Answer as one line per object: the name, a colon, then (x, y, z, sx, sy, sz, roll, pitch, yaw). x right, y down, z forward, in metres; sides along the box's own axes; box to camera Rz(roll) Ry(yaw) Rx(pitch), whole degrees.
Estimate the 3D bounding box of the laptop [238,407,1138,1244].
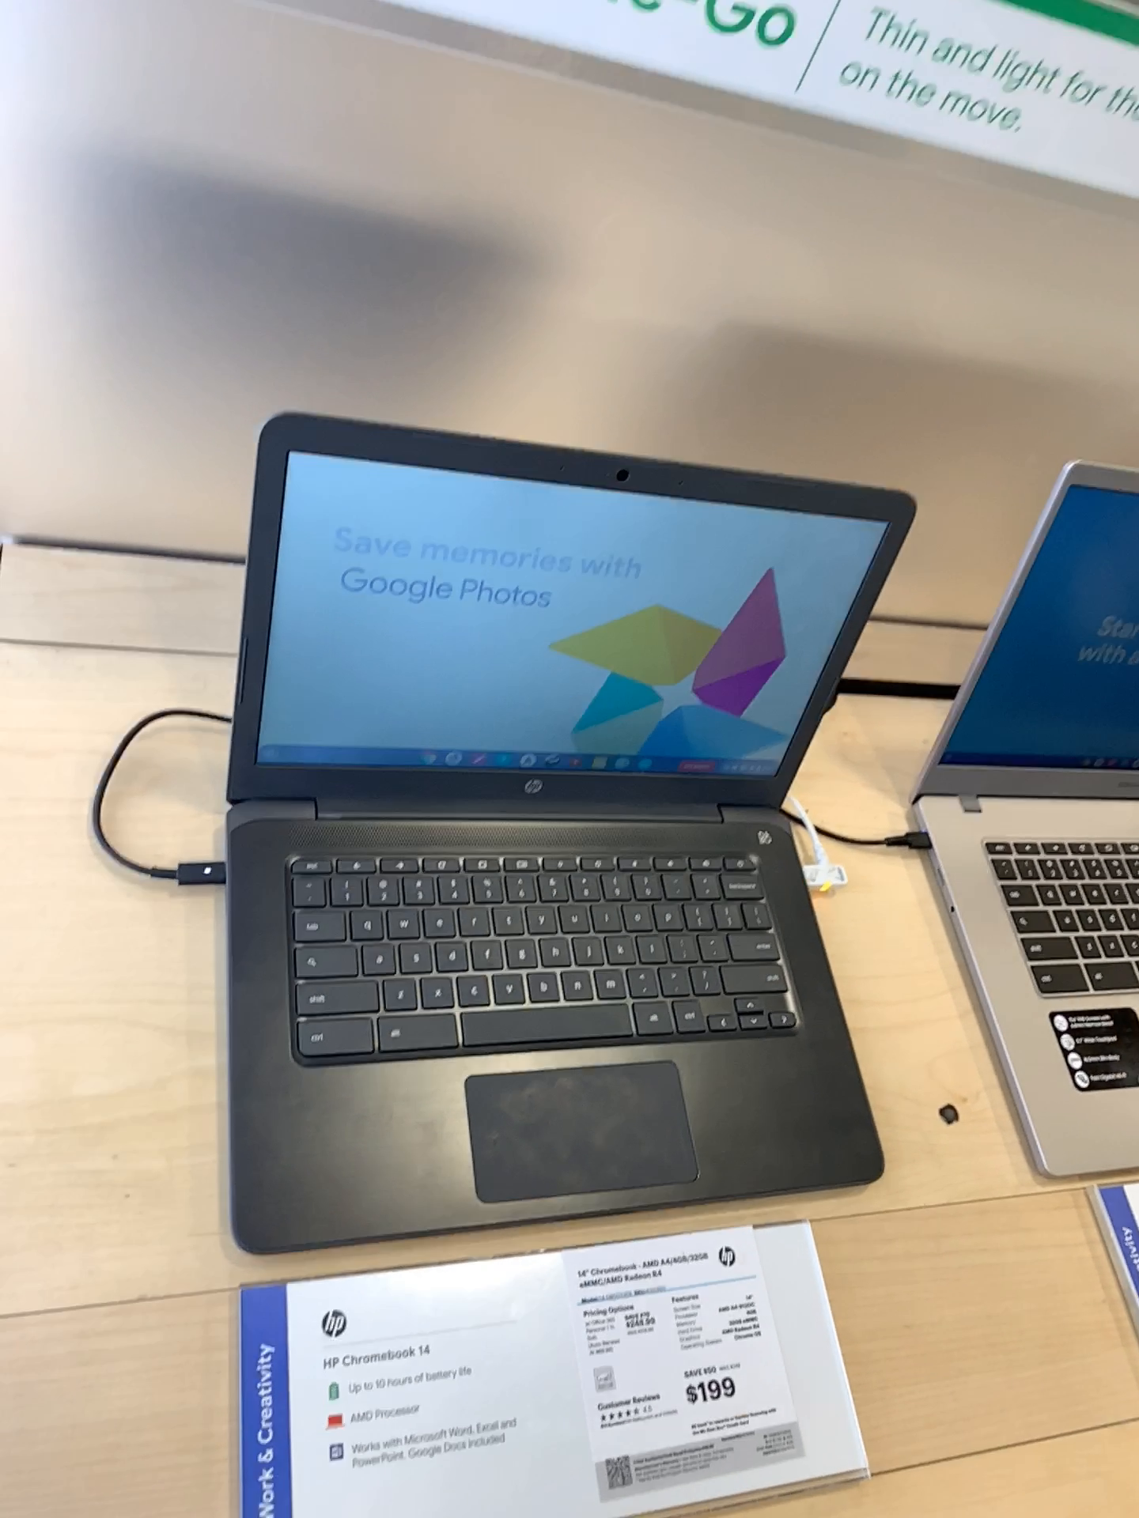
laptop: (0.019, 0.033, 0.548, 0.320, 0.199, 0.292, 1, 58, -19)
